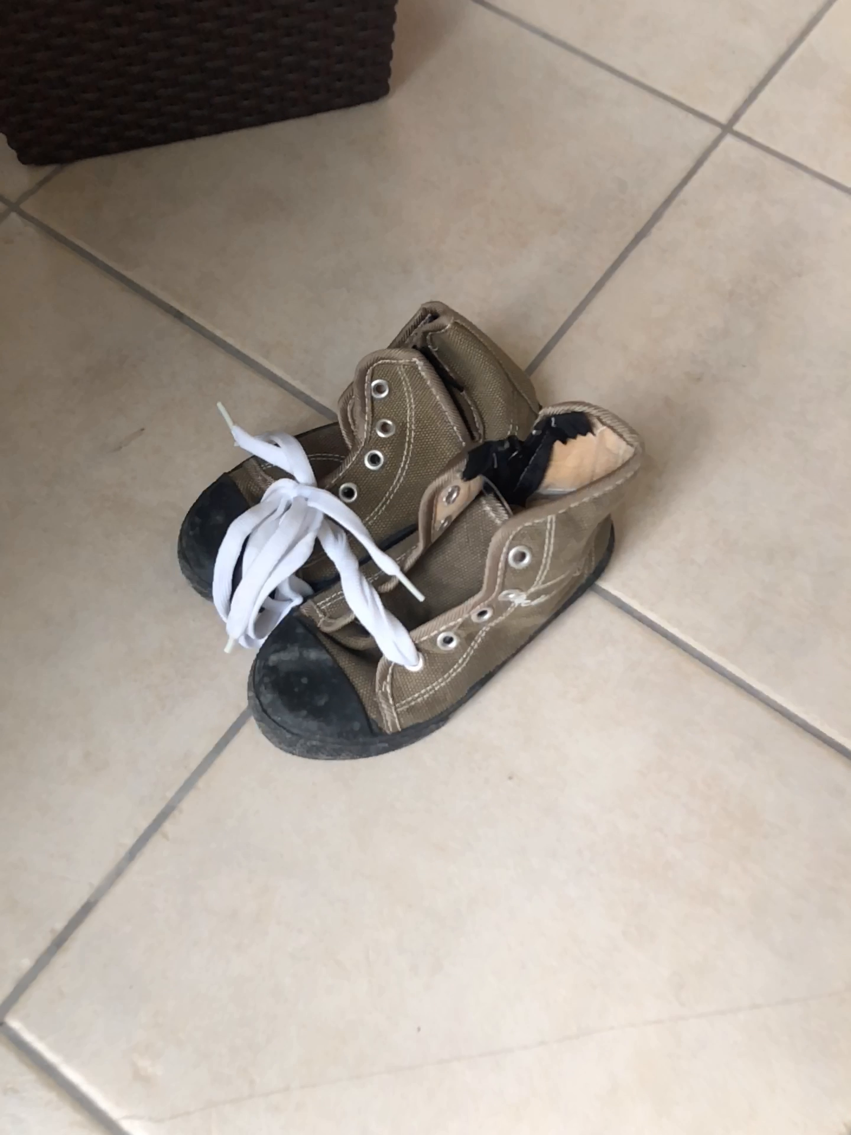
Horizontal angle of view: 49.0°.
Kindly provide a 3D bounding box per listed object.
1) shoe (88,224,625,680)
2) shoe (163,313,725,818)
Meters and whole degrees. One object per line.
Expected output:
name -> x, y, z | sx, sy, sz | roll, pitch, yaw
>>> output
shoe -> -0.026, -0.048, 0.422 | 0.200, 0.110, 0.080 | -30, 71, -13
shoe -> 0.010, 0.003, 0.395 | 0.200, 0.110, 0.080 | -35, 72, -15
